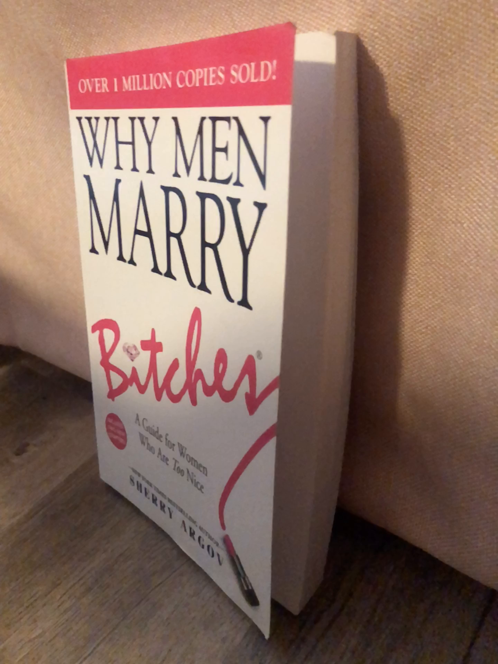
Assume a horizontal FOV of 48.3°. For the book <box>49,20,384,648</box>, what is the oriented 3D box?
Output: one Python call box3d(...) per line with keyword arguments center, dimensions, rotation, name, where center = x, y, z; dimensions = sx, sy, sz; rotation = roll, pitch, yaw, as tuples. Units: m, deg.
box3d(center=(-0.026, -0.003, 0.244), dimensions=(0.037, 0.219, 0.150), rotation=(-17, 27, -40), name="book")
